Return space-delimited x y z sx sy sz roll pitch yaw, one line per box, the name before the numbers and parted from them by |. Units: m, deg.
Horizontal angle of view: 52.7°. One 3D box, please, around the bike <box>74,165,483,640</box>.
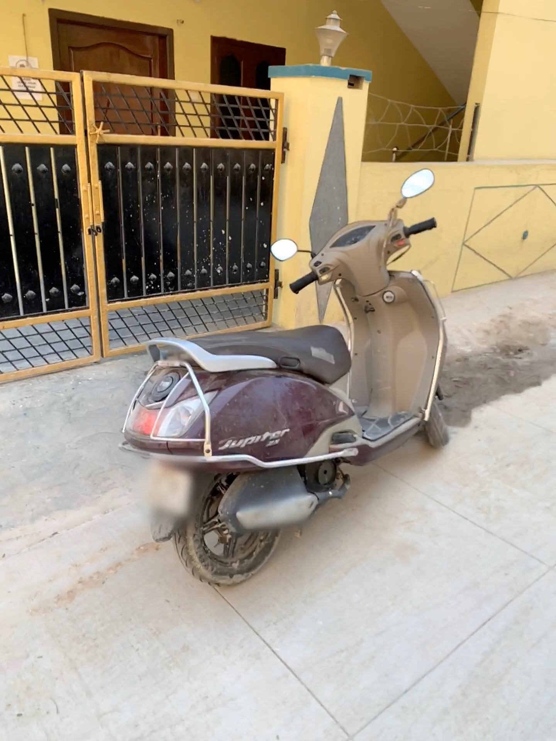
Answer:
bike | 0.100 -0.073 2.208 0.614 1.158 1.530 19 32 35
